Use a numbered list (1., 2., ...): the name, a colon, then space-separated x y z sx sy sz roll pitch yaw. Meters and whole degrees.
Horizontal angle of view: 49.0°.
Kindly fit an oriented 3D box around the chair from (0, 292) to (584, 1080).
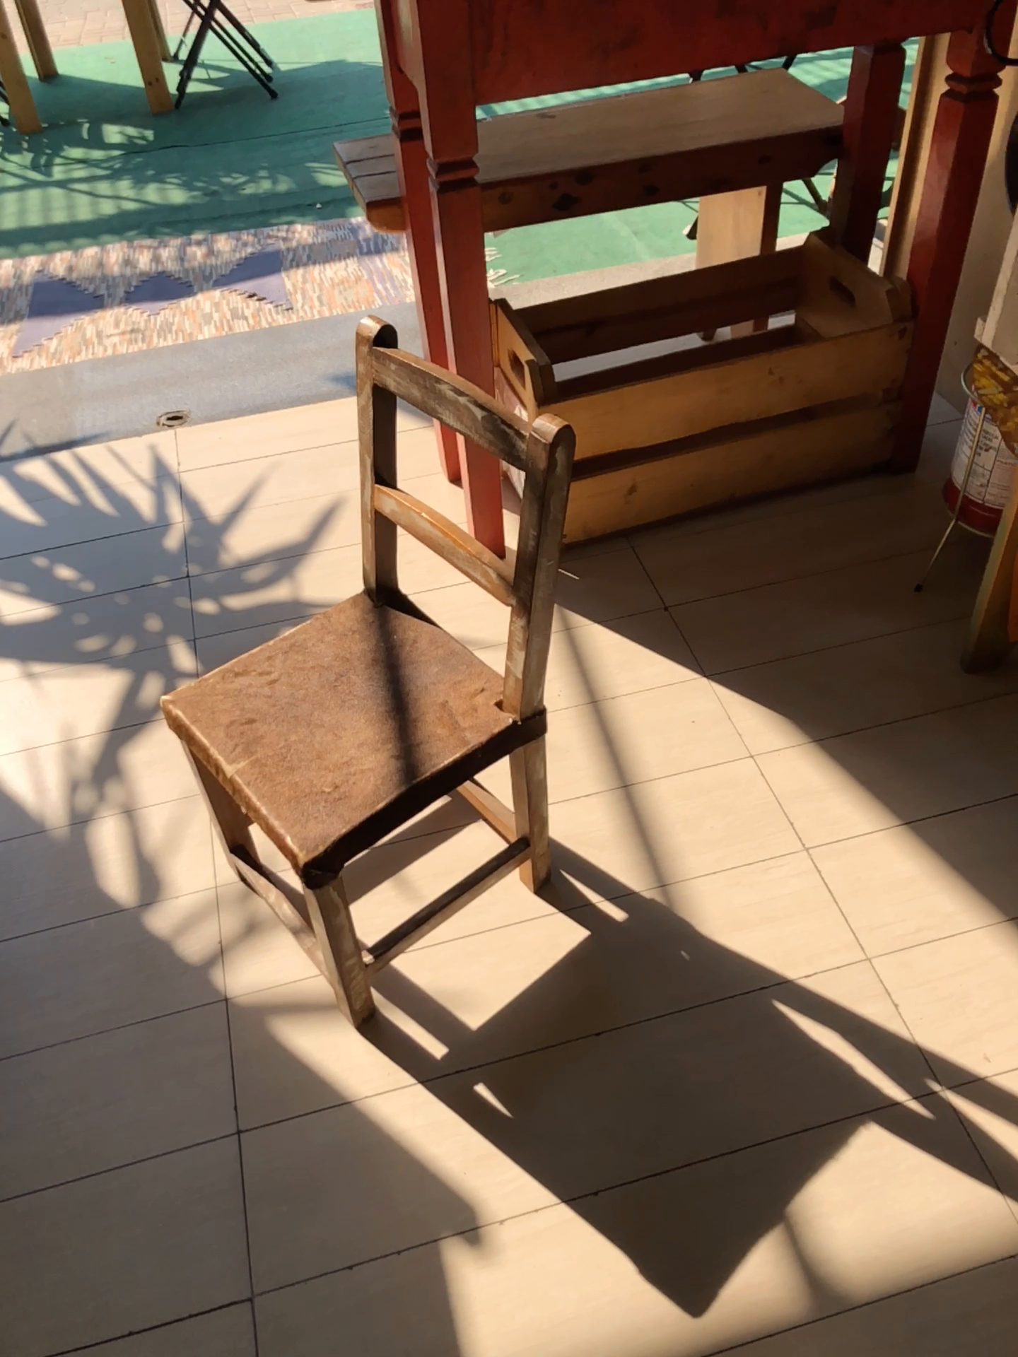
1. chair: -0.159 0.021 1.054 0.341 0.596 0.301 -30 49 -25
